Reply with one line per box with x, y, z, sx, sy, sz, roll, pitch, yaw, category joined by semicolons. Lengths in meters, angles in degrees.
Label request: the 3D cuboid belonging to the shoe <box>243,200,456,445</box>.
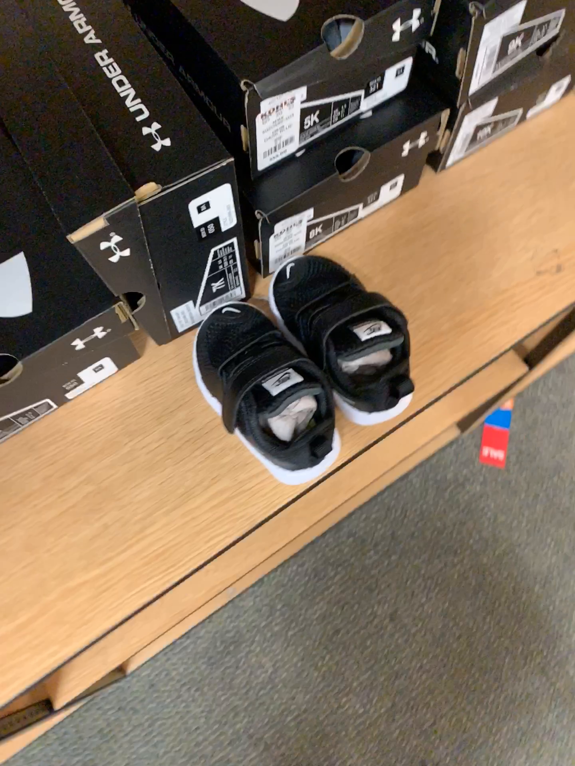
0.037;-0.041;0.403;0.070;0.060;0.140;-29;73;-10;shoe

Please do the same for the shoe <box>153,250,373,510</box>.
-0.017;-0.002;0.379;0.070;0.060;0.140;-29;73;-10;shoe
